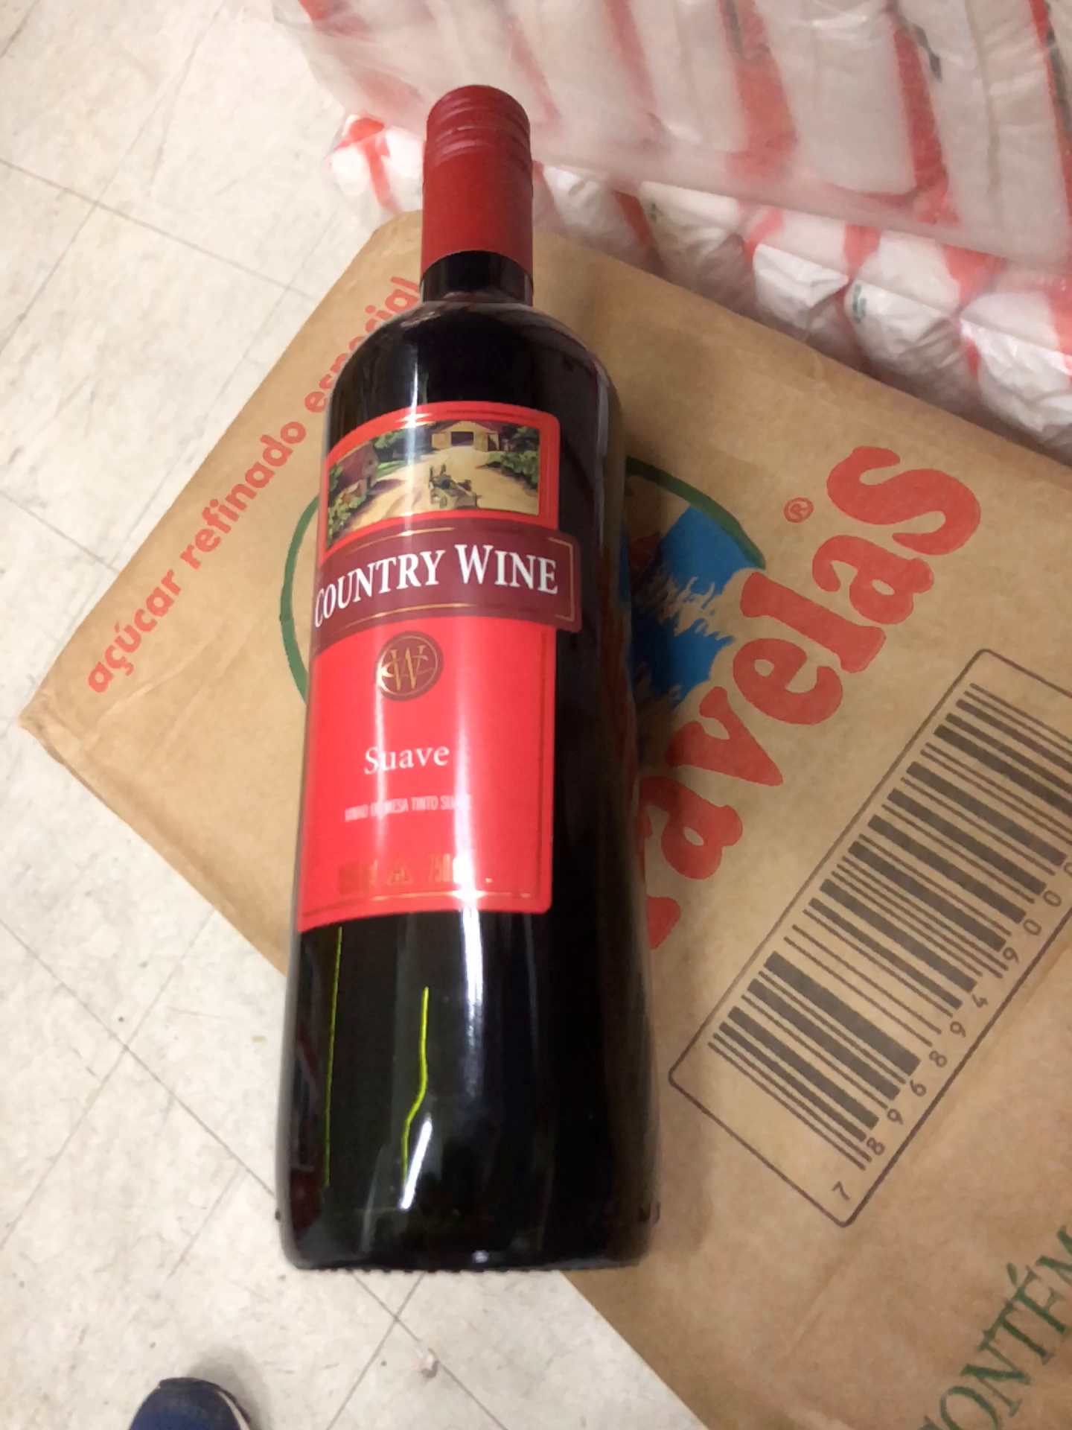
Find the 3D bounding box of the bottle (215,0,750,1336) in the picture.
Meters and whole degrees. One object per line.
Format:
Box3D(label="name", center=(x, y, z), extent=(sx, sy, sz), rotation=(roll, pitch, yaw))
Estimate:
Box3D(label="bottle", center=(-0.015, -0.031, 0.263), extent=(0.080, 0.060, 0.290), rotation=(-10, 70, 21))
